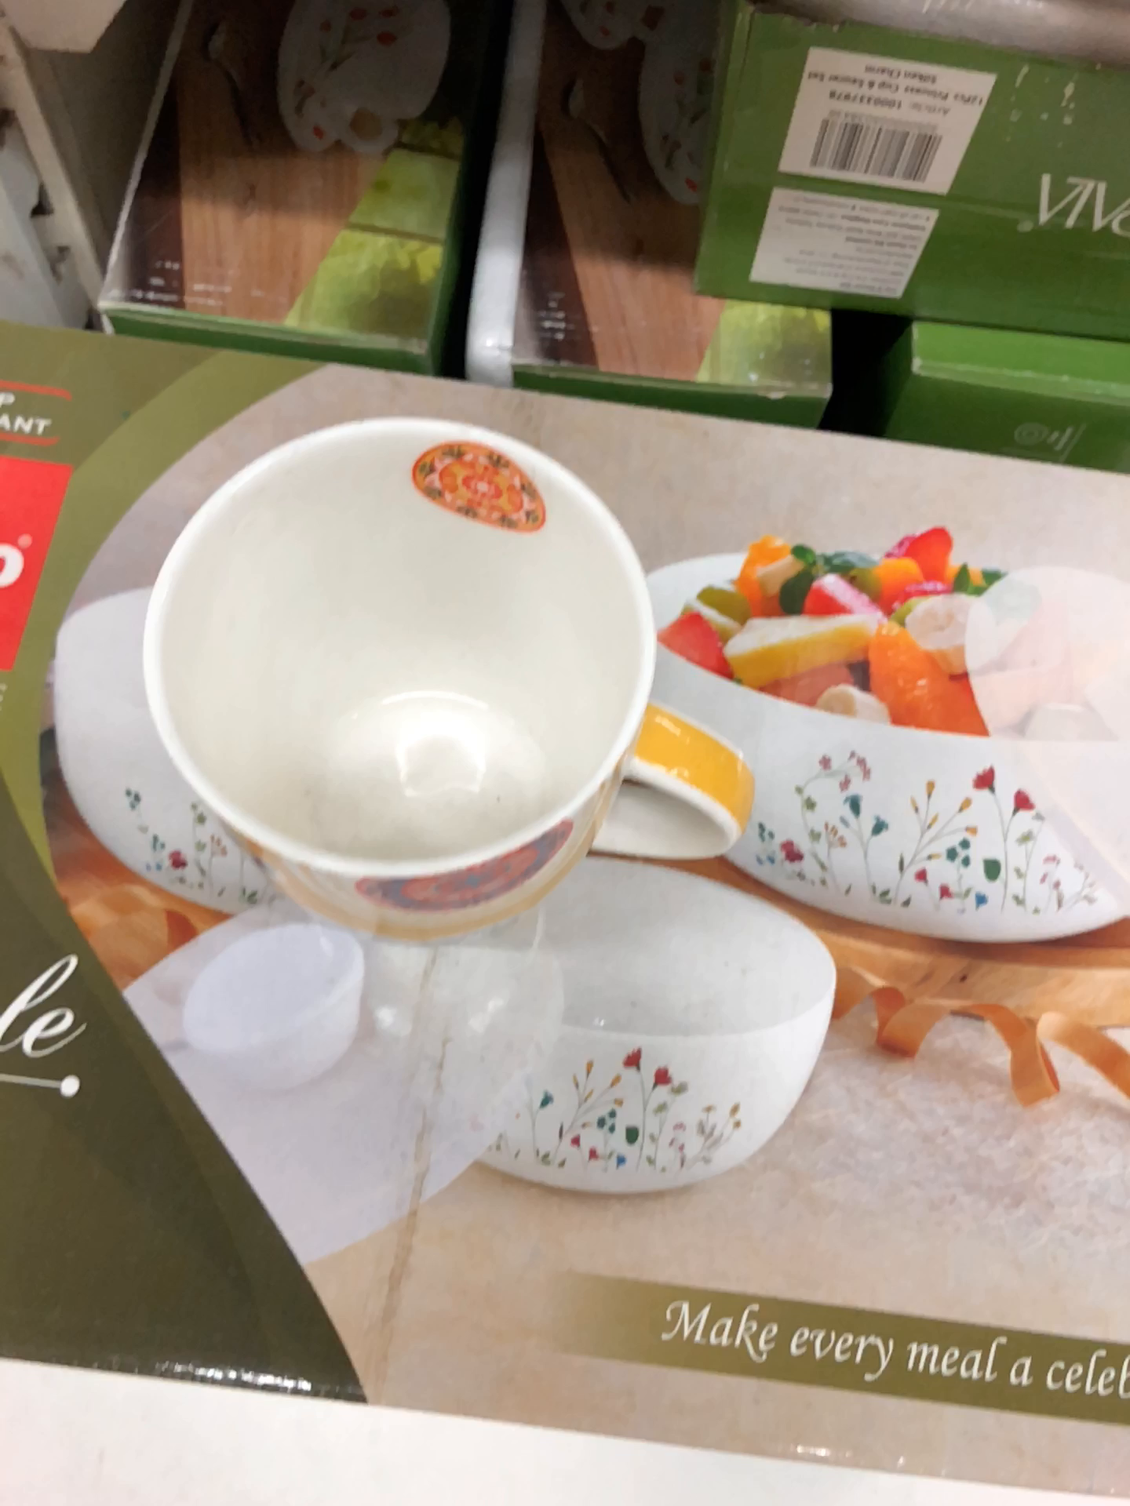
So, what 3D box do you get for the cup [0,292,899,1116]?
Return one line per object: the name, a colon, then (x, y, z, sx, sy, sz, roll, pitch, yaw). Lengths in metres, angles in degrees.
cup: (-0.020, -0.002, 0.229, 0.120, 0.090, 0.090, 17, 68, 2)
